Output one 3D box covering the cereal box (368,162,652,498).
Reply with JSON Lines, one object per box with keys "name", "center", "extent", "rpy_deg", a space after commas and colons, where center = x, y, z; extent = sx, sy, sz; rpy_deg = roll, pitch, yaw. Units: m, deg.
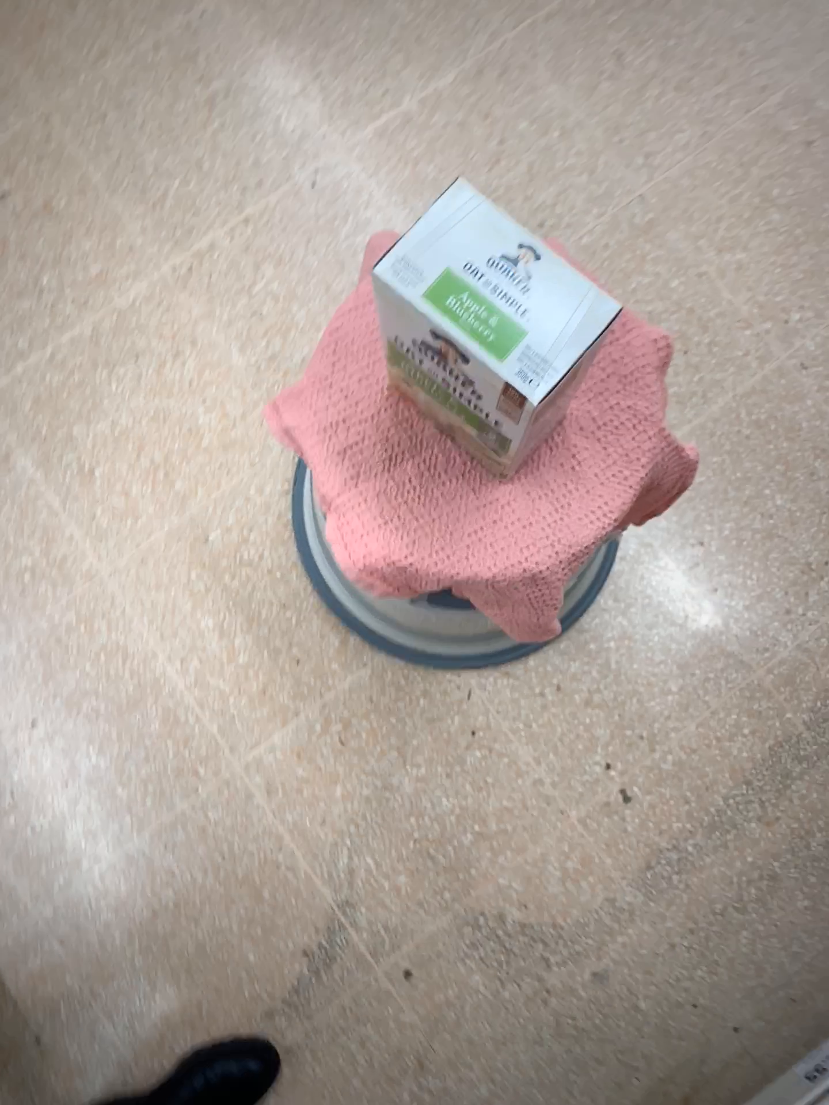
{"name": "cereal box", "center": [0.057, -0.138, 0.595], "extent": [0.140, 0.210, 0.090], "rpy_deg": [41, 84, 6]}
